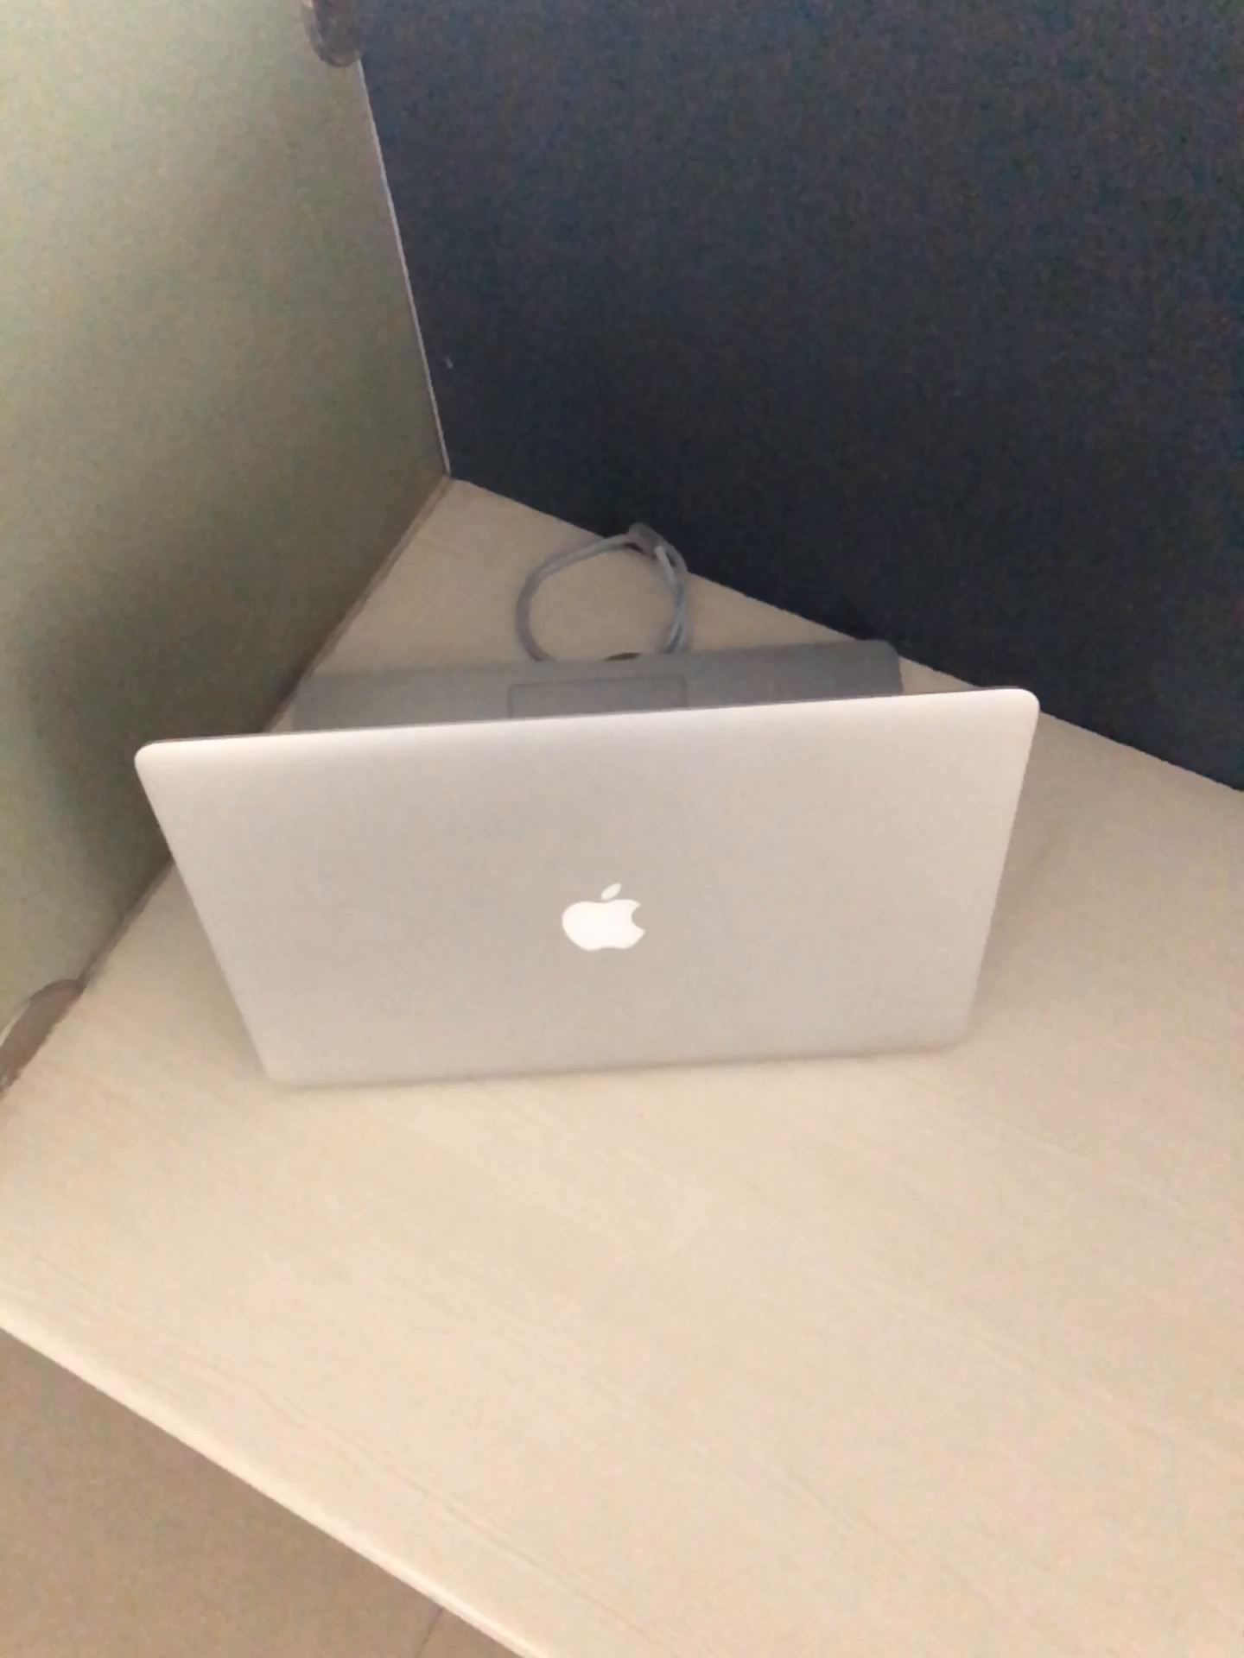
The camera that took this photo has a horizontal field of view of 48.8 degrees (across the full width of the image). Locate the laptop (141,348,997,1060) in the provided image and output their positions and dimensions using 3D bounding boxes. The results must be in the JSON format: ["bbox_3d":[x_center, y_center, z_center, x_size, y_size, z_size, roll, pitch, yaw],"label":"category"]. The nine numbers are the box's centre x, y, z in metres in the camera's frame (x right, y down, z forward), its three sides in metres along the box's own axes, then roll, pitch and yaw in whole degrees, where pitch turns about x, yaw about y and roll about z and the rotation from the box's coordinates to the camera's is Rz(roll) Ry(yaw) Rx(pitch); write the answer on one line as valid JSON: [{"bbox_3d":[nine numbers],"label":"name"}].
[{"bbox_3d":[-0.022,-0.049,0.675,0.321,0.233,0.244,-4,62,1],"label":"laptop"}]
